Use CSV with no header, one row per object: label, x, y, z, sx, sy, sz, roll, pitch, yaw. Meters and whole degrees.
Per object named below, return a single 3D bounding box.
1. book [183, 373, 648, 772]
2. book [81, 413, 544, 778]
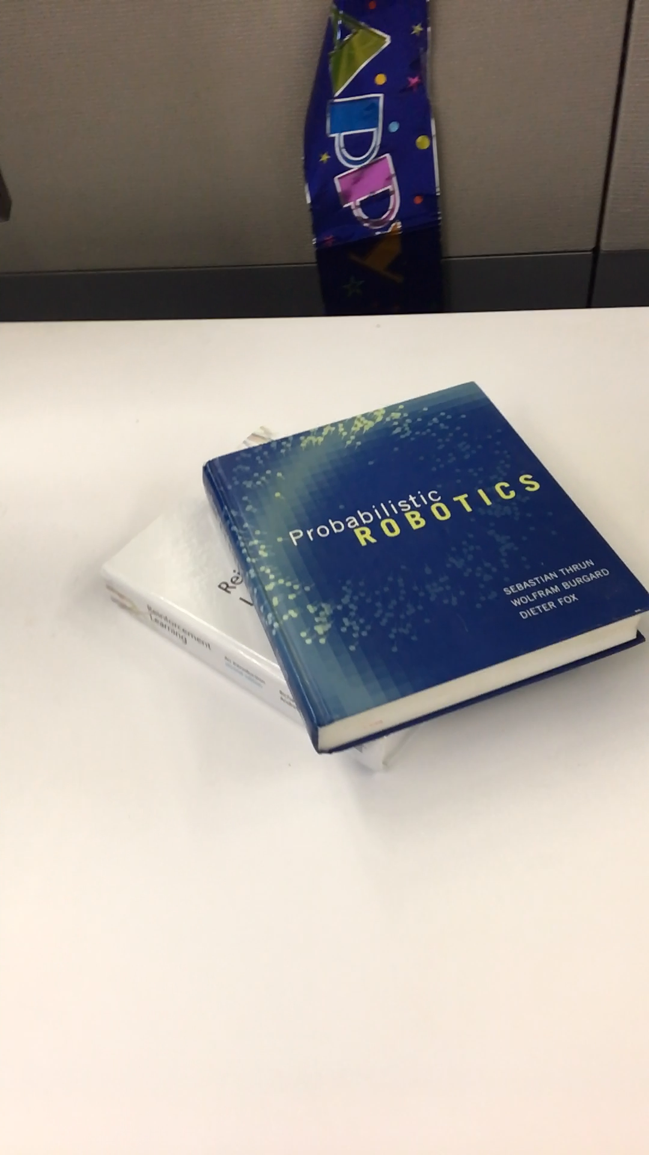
book,0.046,-0.020,0.609,0.210,0.030,0.240,-19,50,-10
book,-0.009,-0.005,0.646,0.240,0.030,0.190,28,58,27
